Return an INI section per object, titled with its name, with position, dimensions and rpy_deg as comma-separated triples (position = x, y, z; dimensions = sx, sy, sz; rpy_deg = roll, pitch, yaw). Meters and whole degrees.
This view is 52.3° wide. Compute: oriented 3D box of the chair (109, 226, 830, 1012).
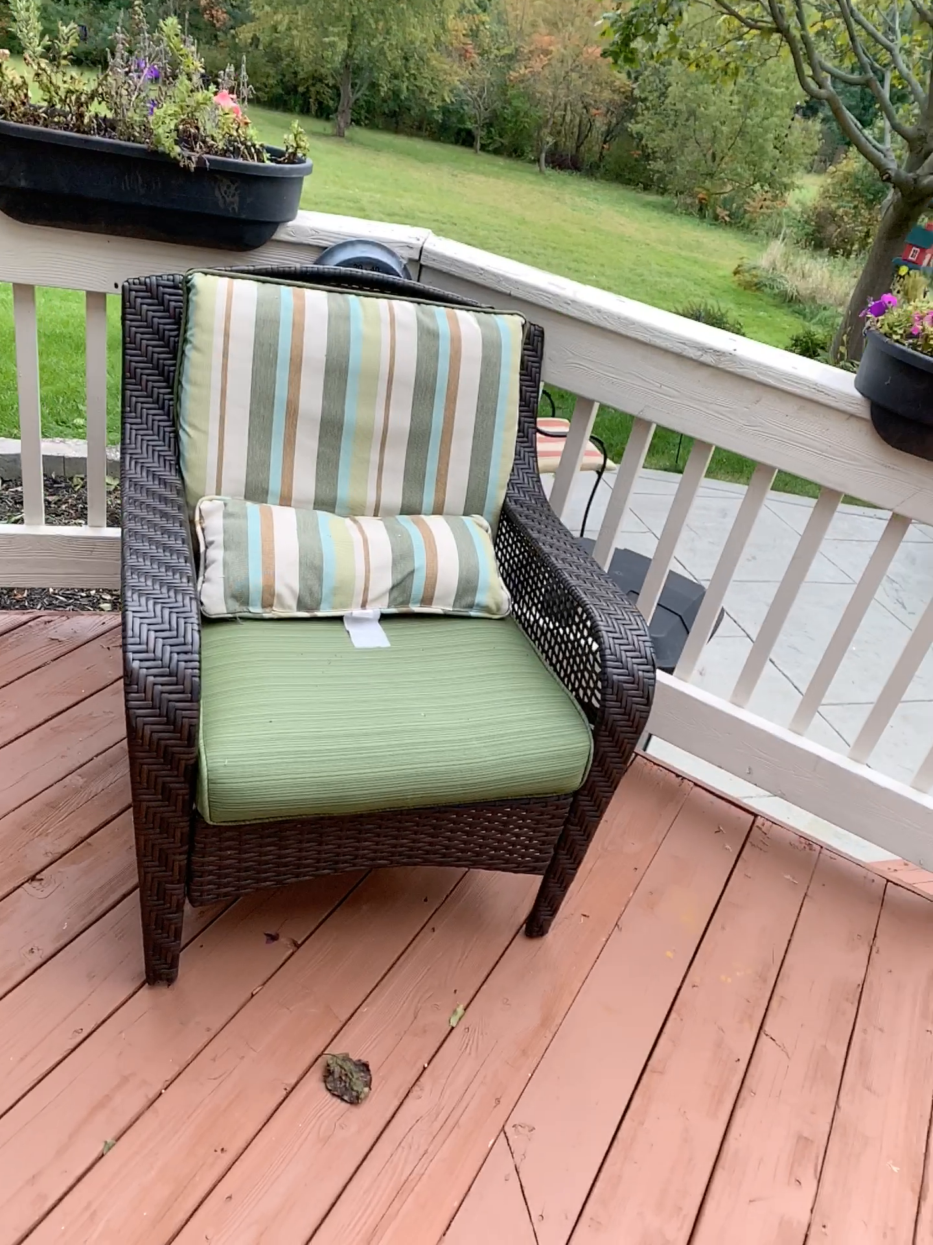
[chair]
position = -0.144, -0.063, 1.550
dimensions = 0.811, 0.824, 0.863
rpy_deg = 0, 33, -20
